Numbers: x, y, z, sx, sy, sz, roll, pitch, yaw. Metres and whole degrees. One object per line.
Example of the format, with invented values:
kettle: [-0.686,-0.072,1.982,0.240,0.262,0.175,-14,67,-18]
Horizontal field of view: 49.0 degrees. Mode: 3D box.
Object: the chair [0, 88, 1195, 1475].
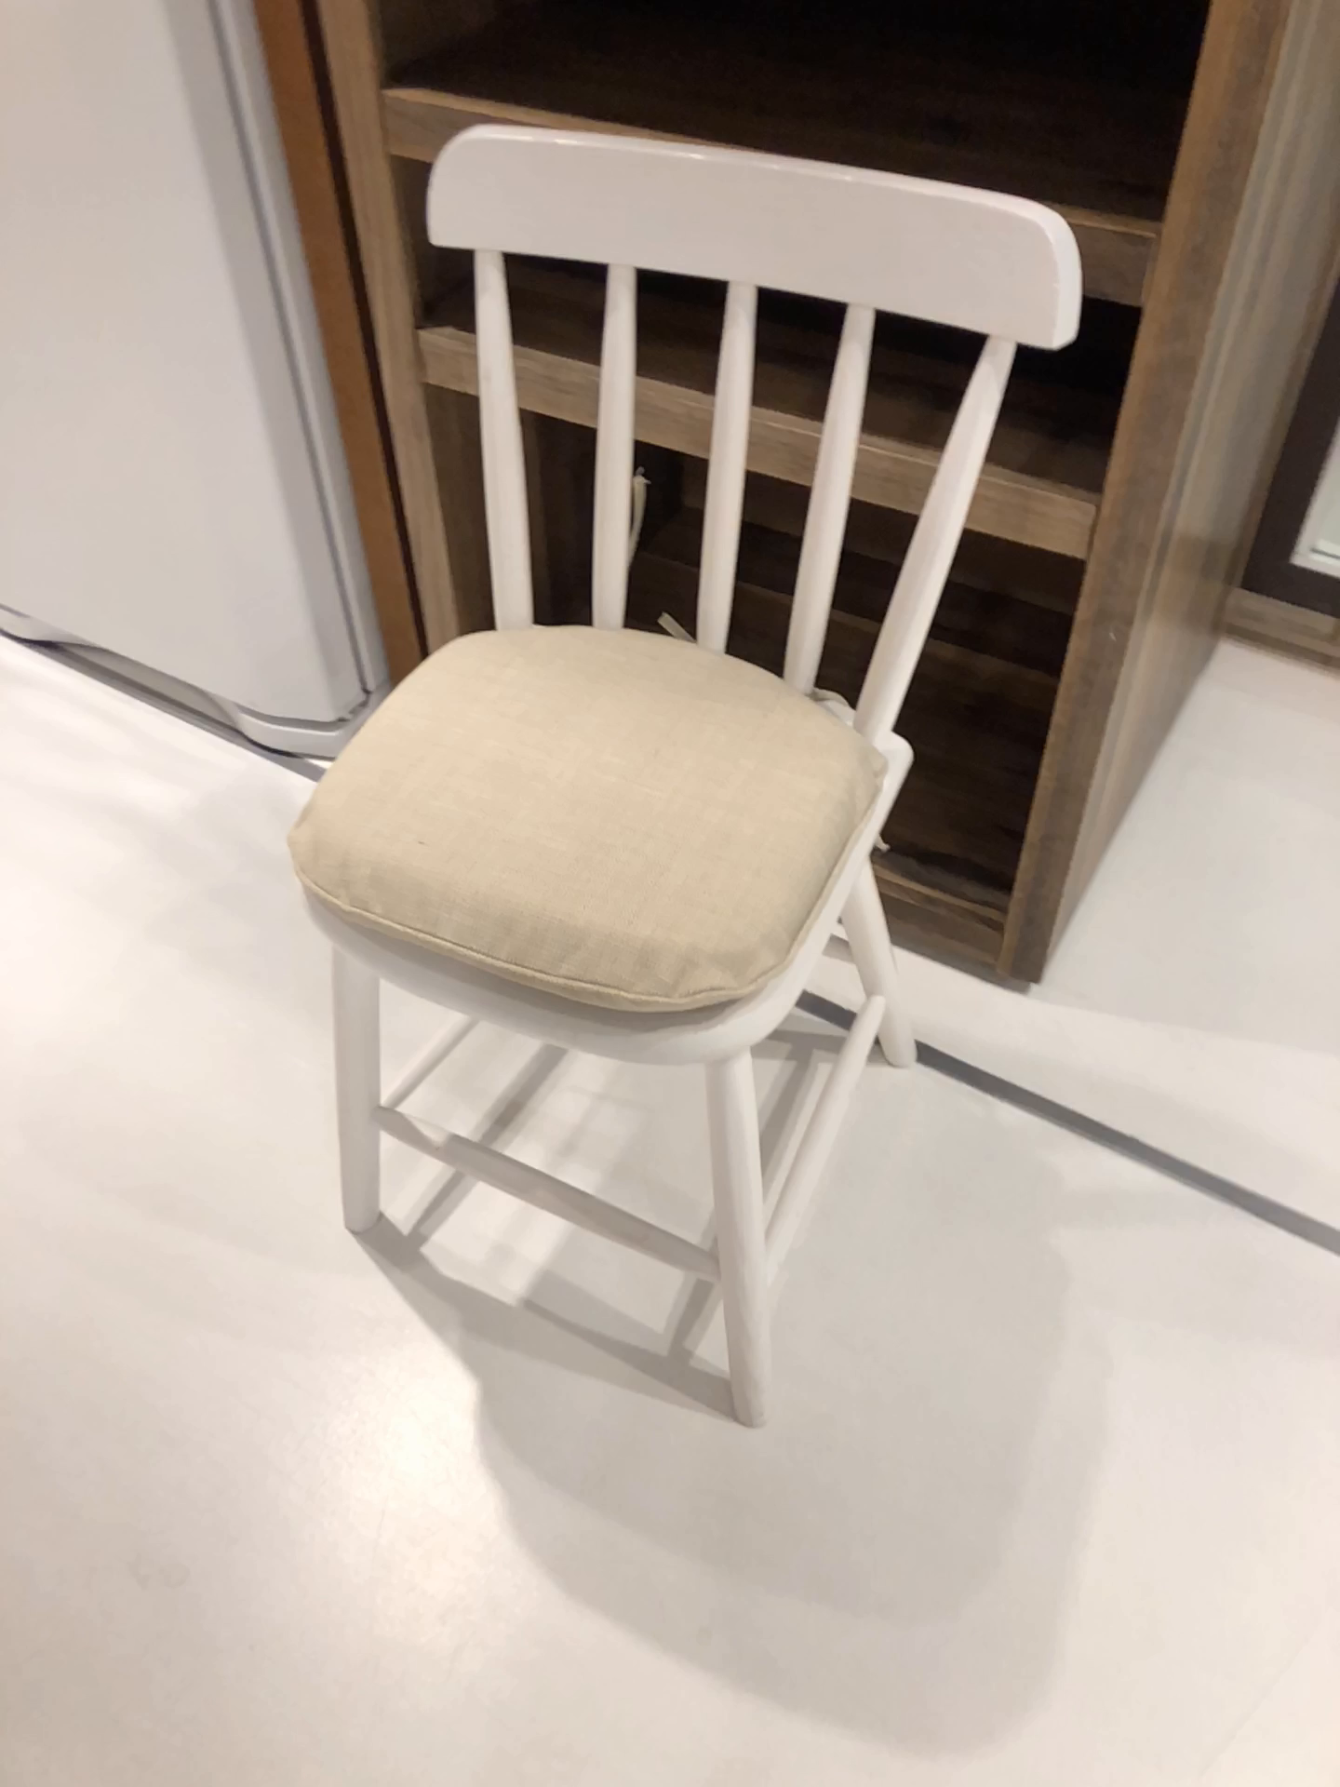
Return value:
chair: [-0.007,-0.059,1.024,0.451,0.725,0.483,20,50,19]
